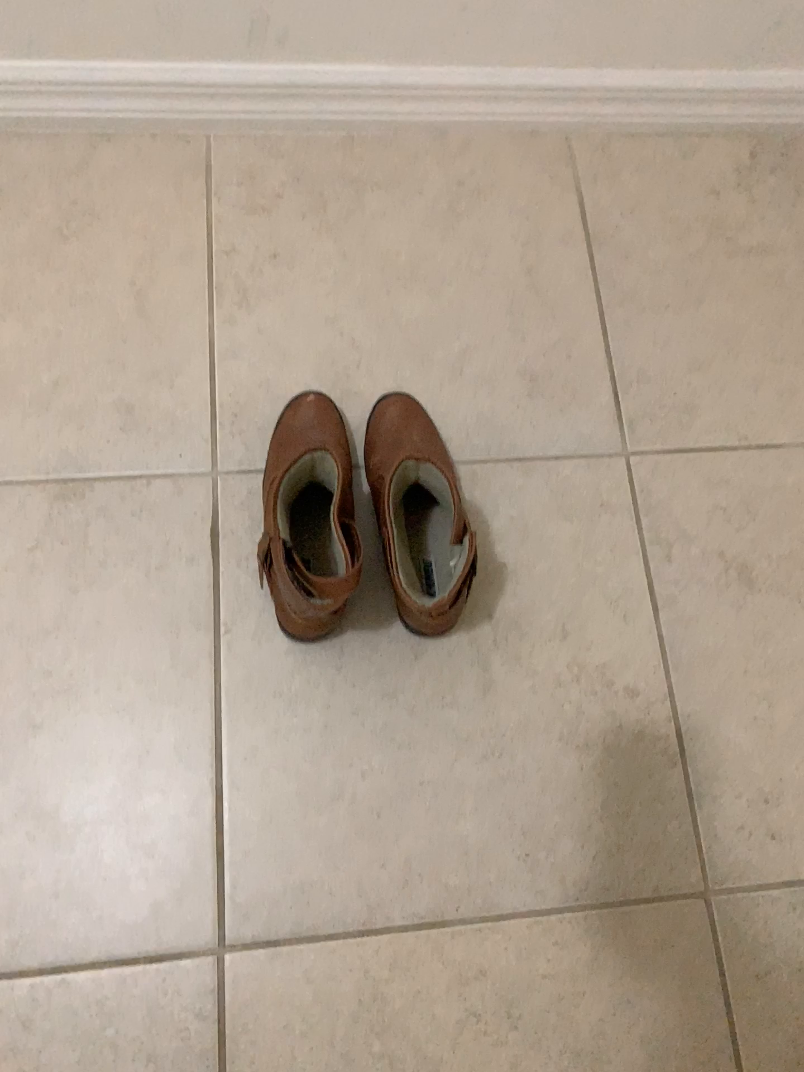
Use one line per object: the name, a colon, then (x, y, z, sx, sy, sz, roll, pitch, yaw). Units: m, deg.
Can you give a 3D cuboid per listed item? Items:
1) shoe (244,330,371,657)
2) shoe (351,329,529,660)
shoe: (-0.088, -0.030, 0.756, 0.094, 0.193, 0.247, -2, 72, -6)
shoe: (0.024, -0.032, 0.777, 0.107, 0.173, 0.260, -6, 73, -8)
